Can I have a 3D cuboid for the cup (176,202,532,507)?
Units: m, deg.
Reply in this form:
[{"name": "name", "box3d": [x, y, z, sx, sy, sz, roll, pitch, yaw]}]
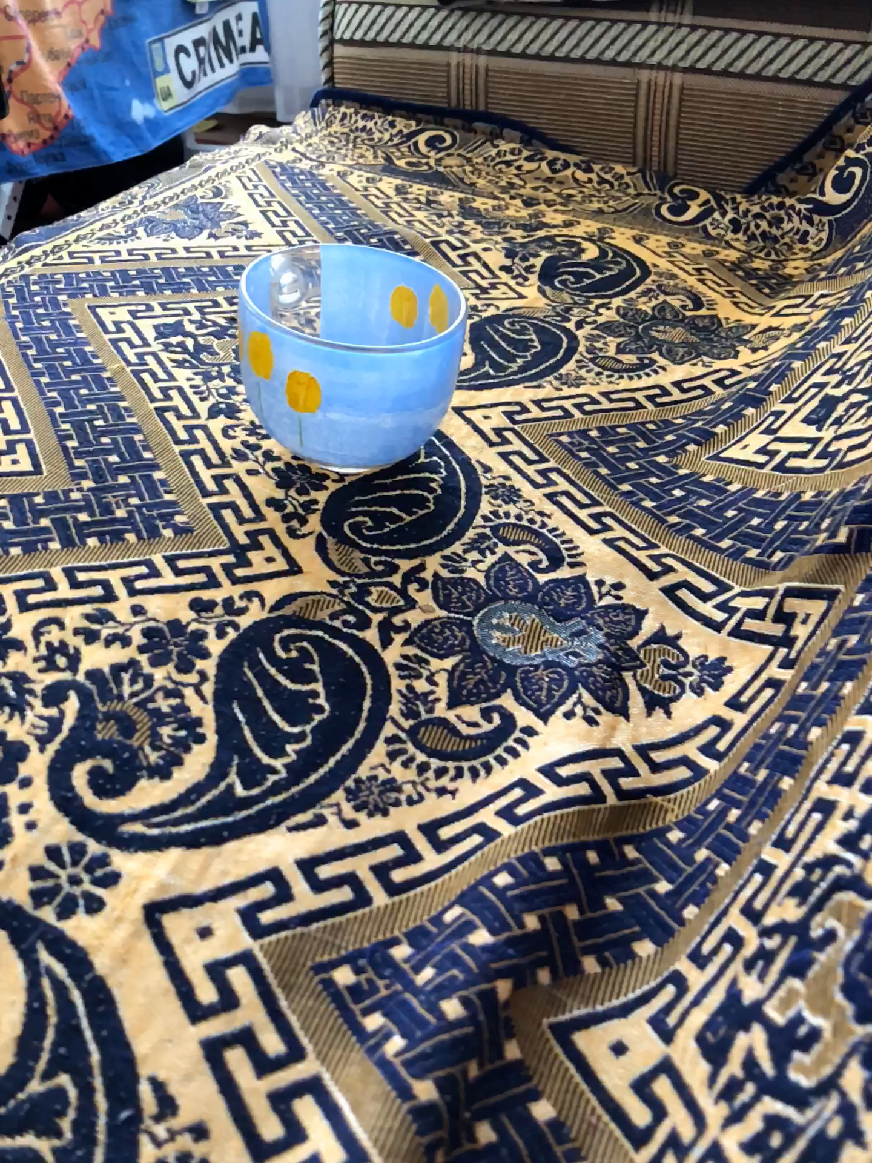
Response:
[{"name": "cup", "box3d": [-0.043, -0.120, 0.476, 0.108, 0.072, 0.139, -26, 50, -29]}]
